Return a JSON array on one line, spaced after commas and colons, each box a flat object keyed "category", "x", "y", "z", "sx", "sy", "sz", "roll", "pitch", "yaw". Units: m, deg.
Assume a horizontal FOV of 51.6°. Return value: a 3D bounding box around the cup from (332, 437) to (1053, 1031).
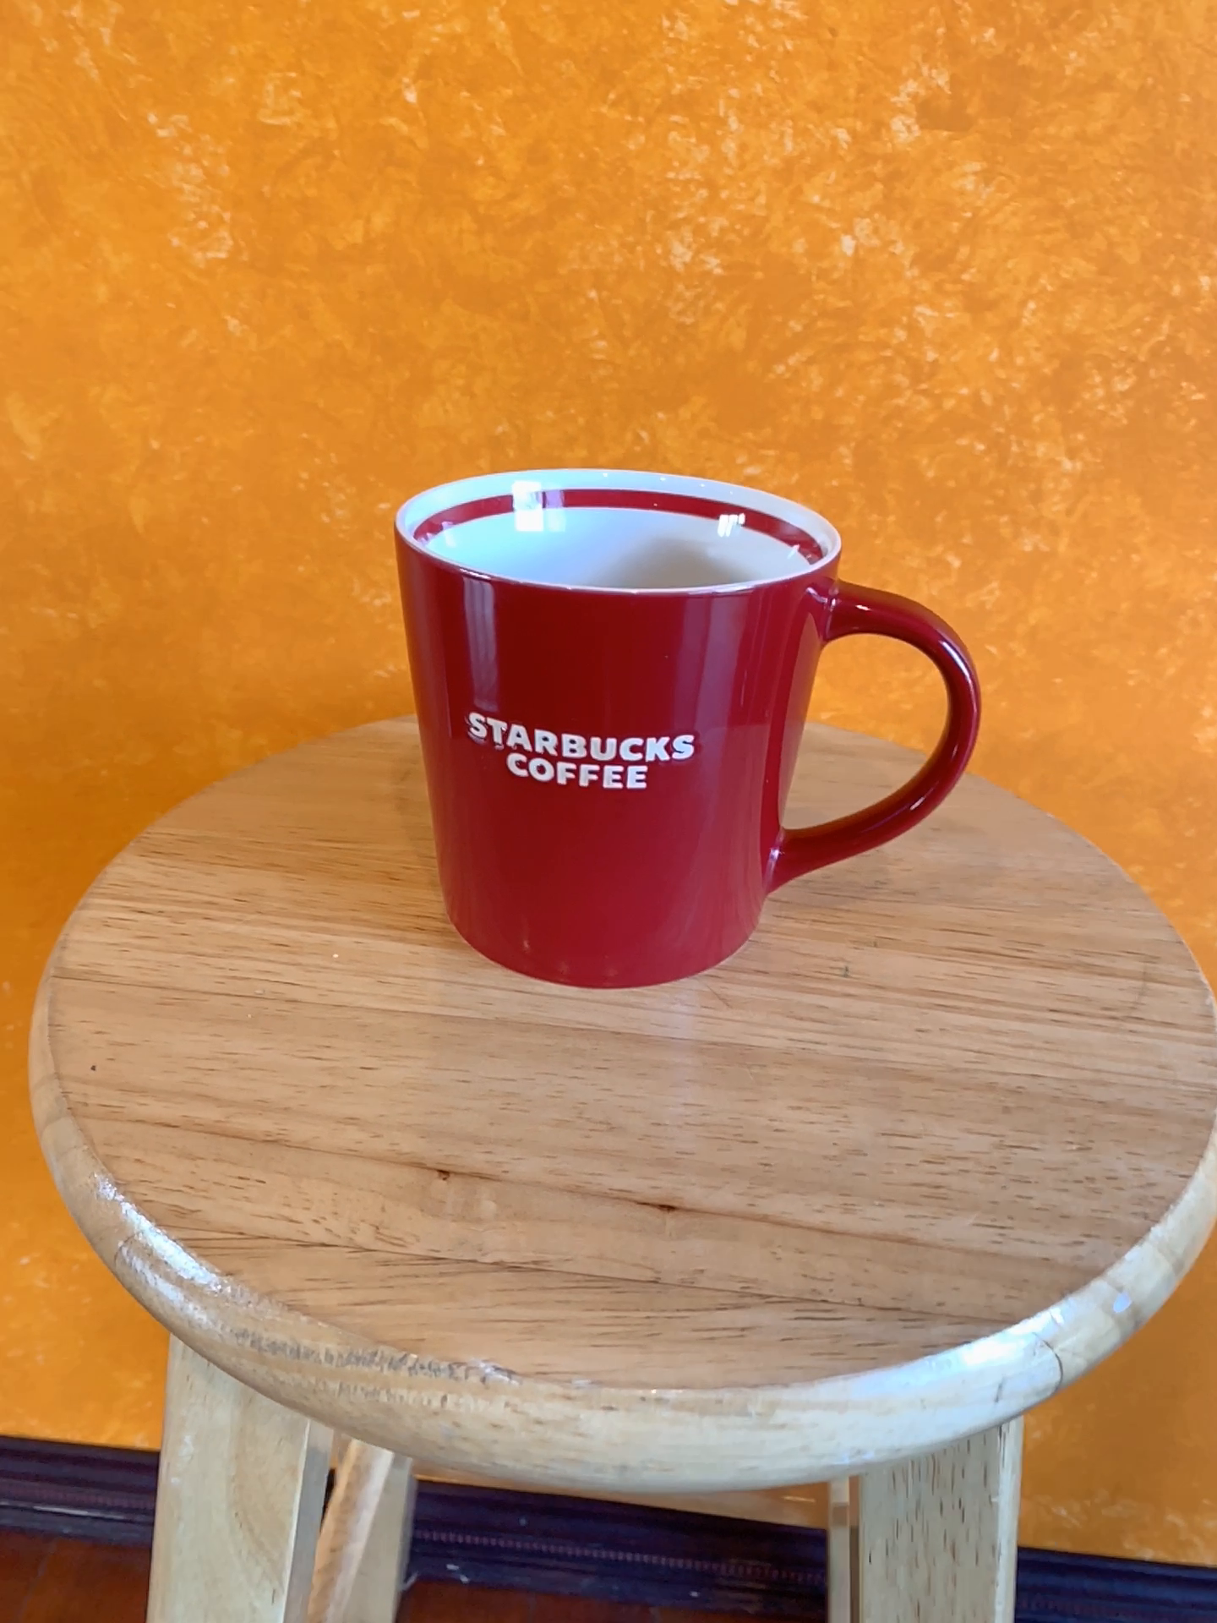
[{"category": "cup", "x": 0.019, "y": -0.026, "z": 0.310, "sx": 0.140, "sy": 0.099, "sz": 0.101, "roll": 6, "pitch": 28, "yaw": 7}]
